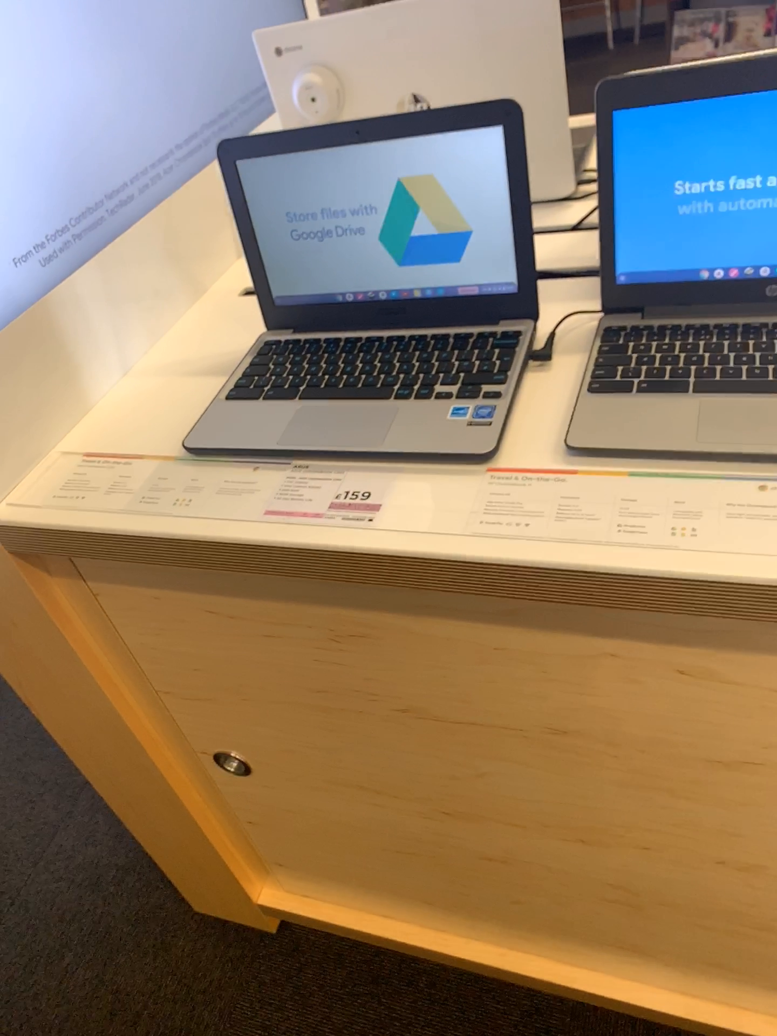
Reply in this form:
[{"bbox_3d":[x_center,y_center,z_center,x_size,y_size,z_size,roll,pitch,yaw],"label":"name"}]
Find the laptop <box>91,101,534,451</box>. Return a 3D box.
[{"bbox_3d":[-0.042,-0.200,0.676,0.280,0.183,0.217,3,43,21],"label":"laptop"}]
